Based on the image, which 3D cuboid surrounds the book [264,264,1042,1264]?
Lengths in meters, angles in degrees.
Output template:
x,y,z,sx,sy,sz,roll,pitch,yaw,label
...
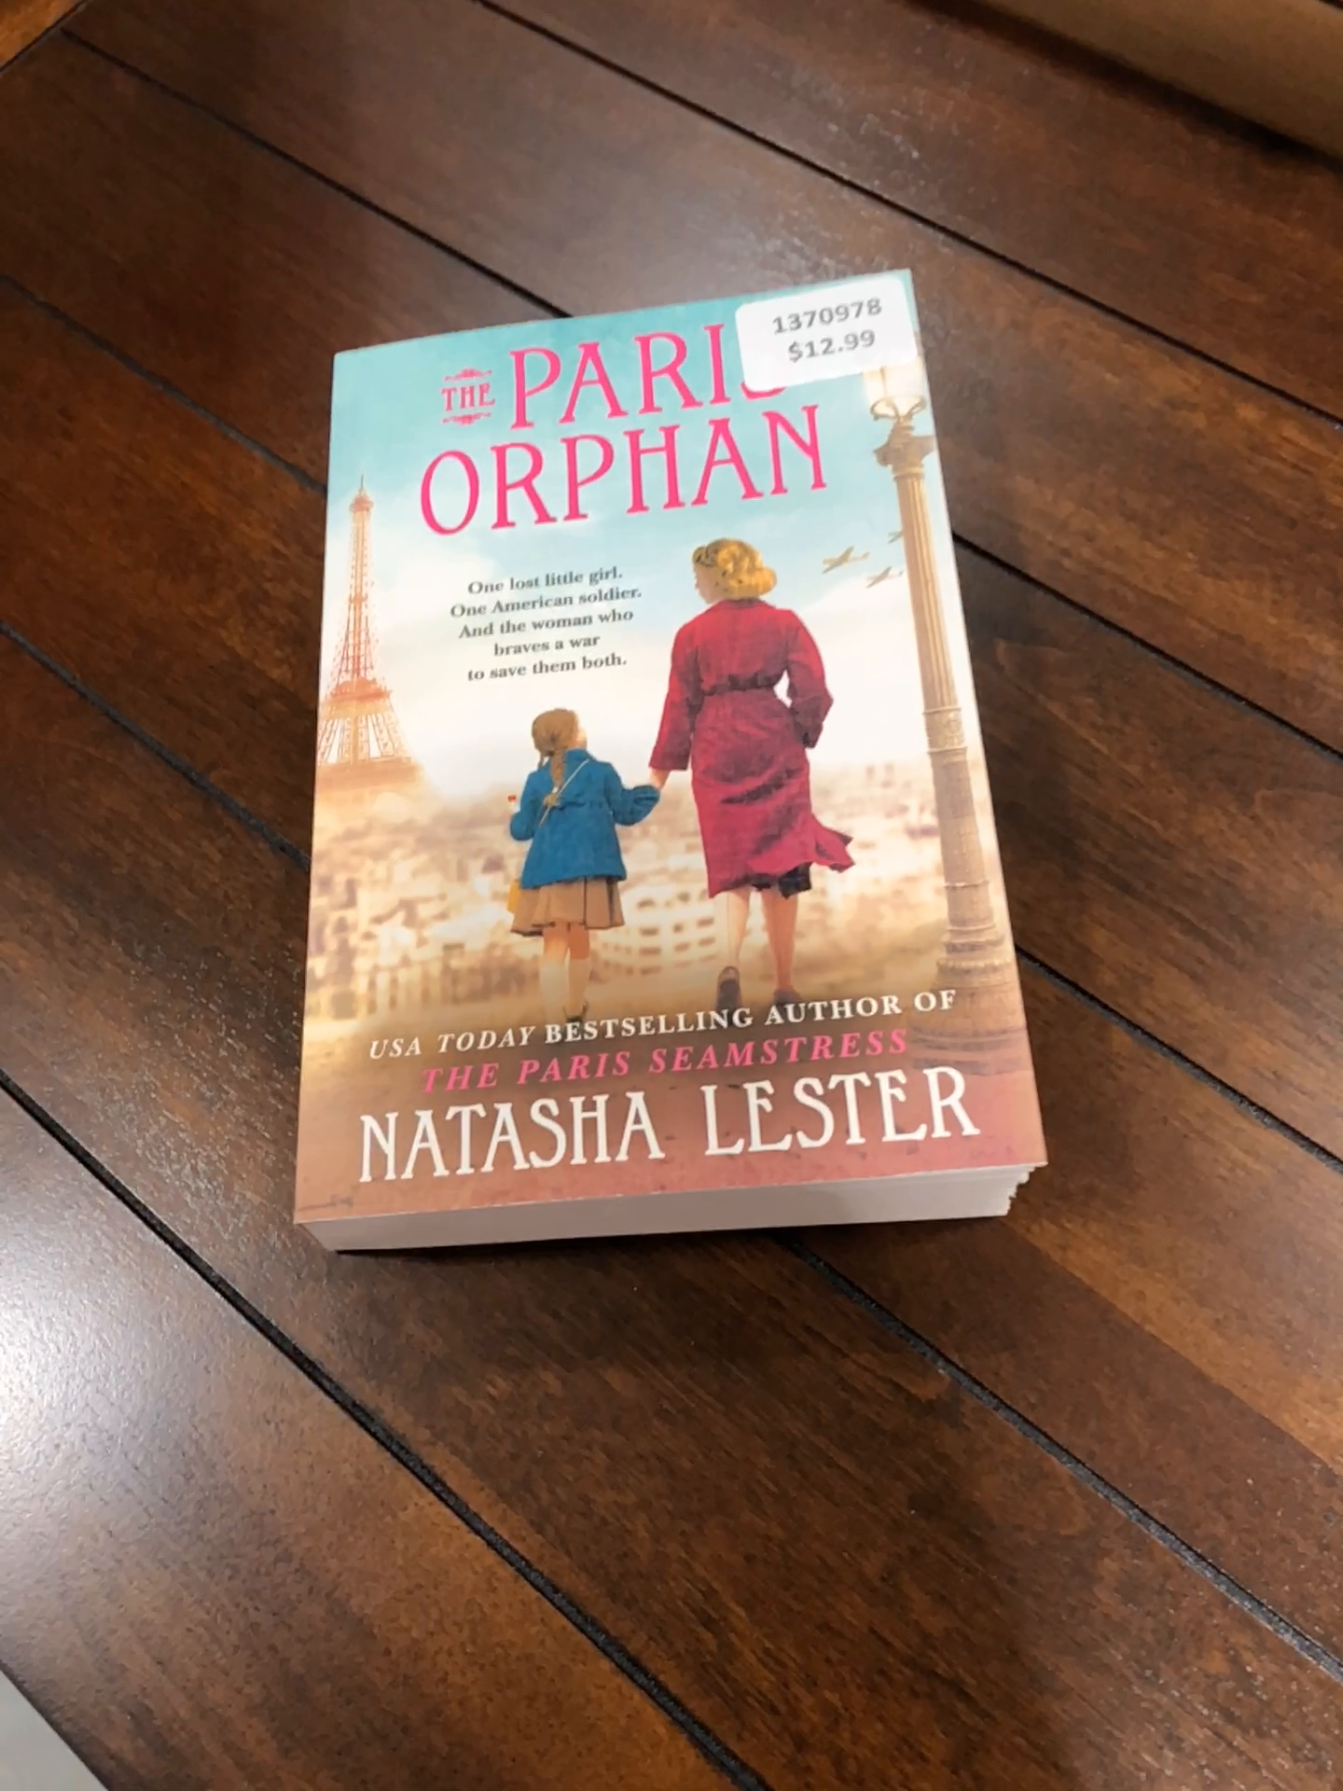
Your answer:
x,y,z,sx,sy,sz,roll,pitch,yaw,label
-0.007,-0.031,0.308,0.134,0.035,0.199,-5,68,6,book
